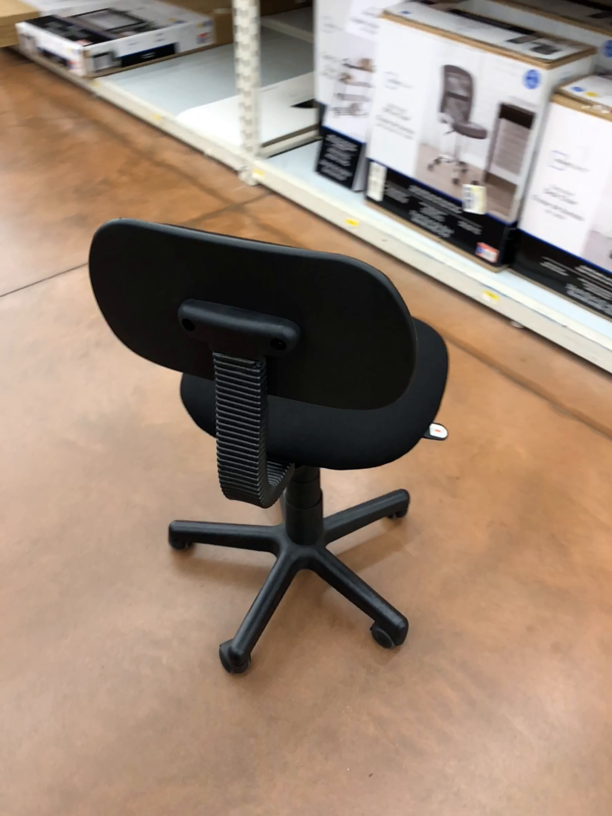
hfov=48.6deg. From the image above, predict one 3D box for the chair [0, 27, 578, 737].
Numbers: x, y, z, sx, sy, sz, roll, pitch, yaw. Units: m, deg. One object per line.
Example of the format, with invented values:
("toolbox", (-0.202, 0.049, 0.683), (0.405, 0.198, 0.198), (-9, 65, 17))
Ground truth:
("chair", (-0.035, -0.062, 1.113), (0.670, 0.797, 0.662), (14, 44, 13))
